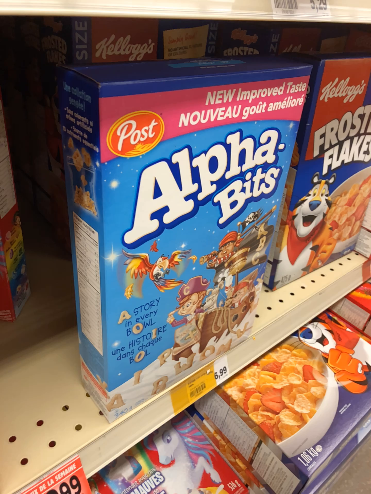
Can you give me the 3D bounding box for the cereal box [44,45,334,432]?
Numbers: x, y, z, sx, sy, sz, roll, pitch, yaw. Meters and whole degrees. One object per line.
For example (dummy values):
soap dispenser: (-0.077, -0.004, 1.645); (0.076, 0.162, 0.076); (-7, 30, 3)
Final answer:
cereal box: (0.000, -0.004, 0.353); (0.201, 0.298, 0.060); (-21, 43, -35)
